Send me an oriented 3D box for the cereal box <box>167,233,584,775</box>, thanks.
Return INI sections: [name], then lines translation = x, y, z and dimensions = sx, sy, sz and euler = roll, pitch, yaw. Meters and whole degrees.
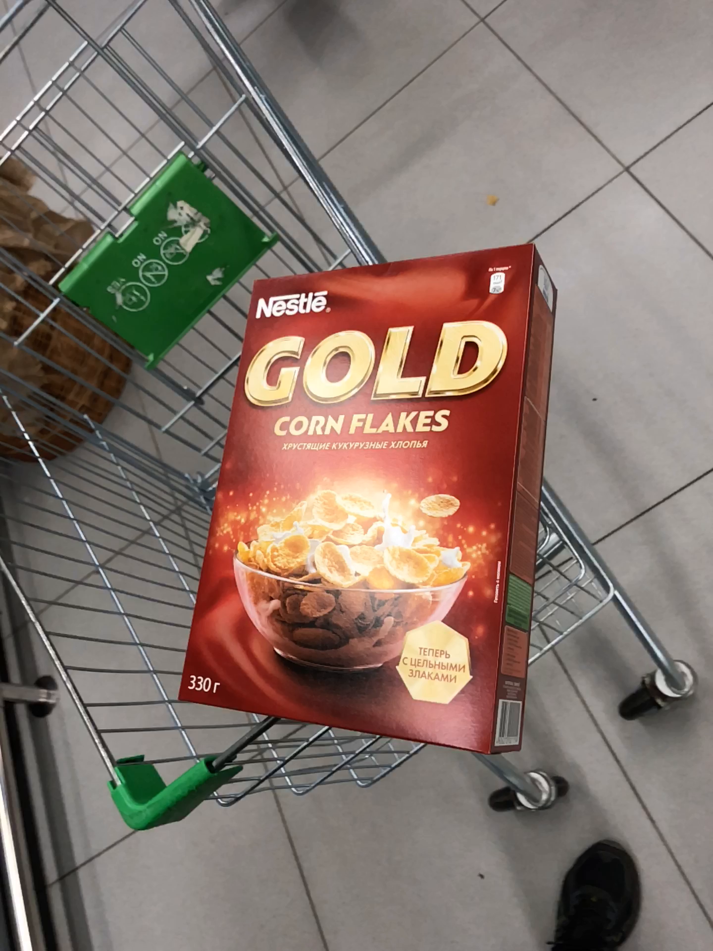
[cereal box]
translation = 0.013, 0.010, 0.471
dimensions = 0.210, 0.060, 0.280
euler = 0, 74, 30
